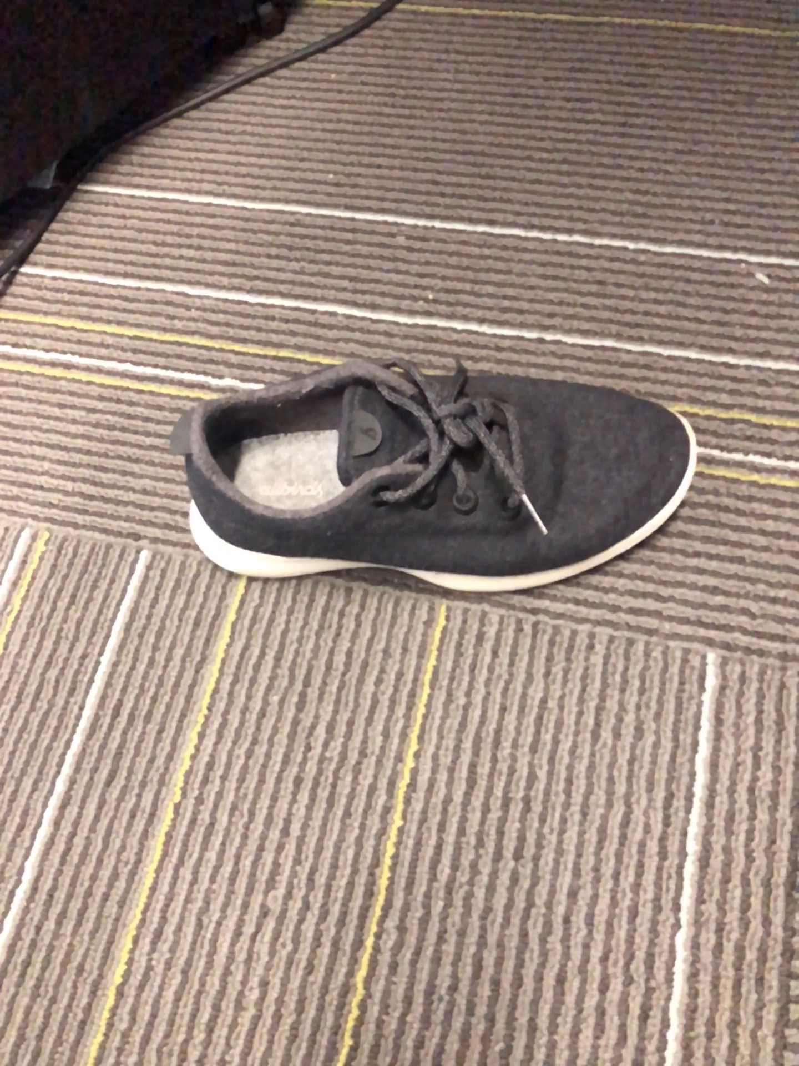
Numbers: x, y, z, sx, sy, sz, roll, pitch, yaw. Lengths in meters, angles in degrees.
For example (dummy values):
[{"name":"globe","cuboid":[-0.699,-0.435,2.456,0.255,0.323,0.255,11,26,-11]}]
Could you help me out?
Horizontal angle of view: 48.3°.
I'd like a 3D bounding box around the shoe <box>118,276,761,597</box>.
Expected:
[{"name":"shoe","cuboid":[0.016,-0.043,0.430,0.270,0.070,0.120,-3,66,6]}]
